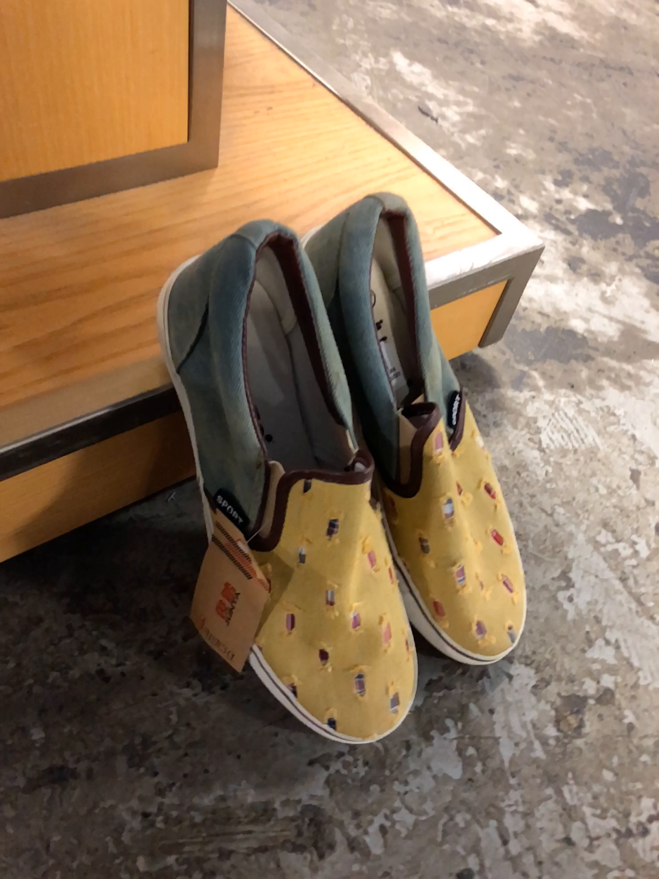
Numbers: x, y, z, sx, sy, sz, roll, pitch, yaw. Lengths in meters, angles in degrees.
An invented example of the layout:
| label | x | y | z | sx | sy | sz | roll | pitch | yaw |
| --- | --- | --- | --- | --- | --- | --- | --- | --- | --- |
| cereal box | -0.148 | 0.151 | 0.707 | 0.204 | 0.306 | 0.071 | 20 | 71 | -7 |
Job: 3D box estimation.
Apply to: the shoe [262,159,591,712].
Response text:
| label | x | y | z | sx | sy | sz | roll | pitch | yaw |
| --- | --- | --- | --- | --- | --- | --- | --- | --- | --- |
| shoe | 0.059 | -0.002 | 0.427 | 0.090 | 0.279 | 0.100 | -22 | 16 | -21 |

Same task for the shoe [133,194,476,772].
| label | x | y | z | sx | sy | sz | roll | pitch | yaw |
| --- | --- | --- | --- | --- | --- | --- | --- | --- | --- |
| shoe | -0.015 | 0.018 | 0.395 | 0.090 | 0.259 | 0.120 | -18 | 14 | -24 |
